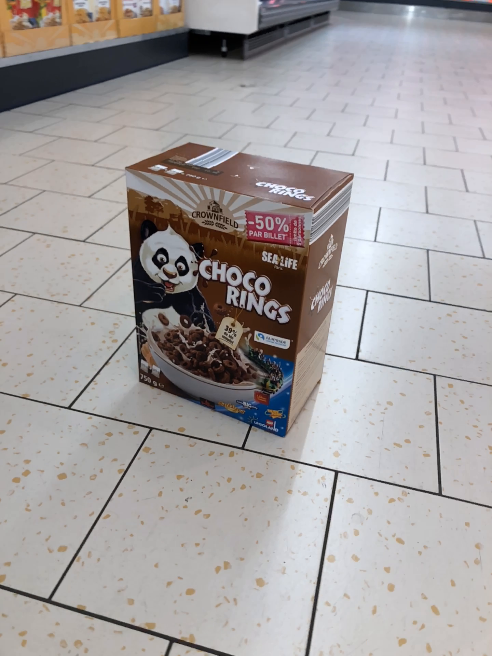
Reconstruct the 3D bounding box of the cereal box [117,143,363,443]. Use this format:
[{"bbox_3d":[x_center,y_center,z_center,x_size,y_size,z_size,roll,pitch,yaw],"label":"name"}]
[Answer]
[{"bbox_3d":[-0.010,-0.044,0.589,0.200,0.249,0.131,19,35,22],"label":"cereal box"}]
